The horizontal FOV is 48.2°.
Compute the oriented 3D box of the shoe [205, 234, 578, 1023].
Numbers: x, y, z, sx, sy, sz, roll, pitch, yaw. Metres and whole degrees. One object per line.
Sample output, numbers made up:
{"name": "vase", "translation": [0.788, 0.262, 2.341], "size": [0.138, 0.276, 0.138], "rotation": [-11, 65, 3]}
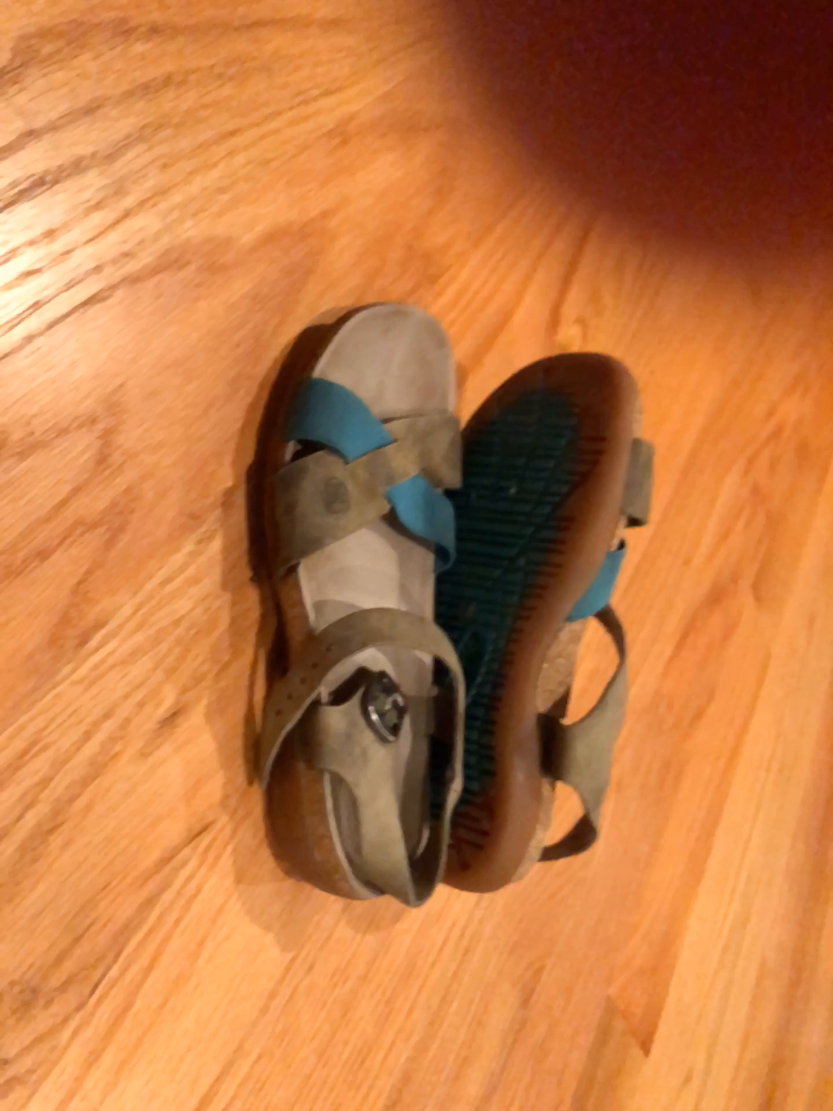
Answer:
{"name": "shoe", "translation": [-0.003, 0.024, 0.347], "size": [0.105, 0.075, 0.240], "rotation": [12, 79, -52]}

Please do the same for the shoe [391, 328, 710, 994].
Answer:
{"name": "shoe", "translation": [0.058, 0.038, 0.391], "size": [0.065, 0.104, 0.238], "rotation": [12, 79, -52]}
